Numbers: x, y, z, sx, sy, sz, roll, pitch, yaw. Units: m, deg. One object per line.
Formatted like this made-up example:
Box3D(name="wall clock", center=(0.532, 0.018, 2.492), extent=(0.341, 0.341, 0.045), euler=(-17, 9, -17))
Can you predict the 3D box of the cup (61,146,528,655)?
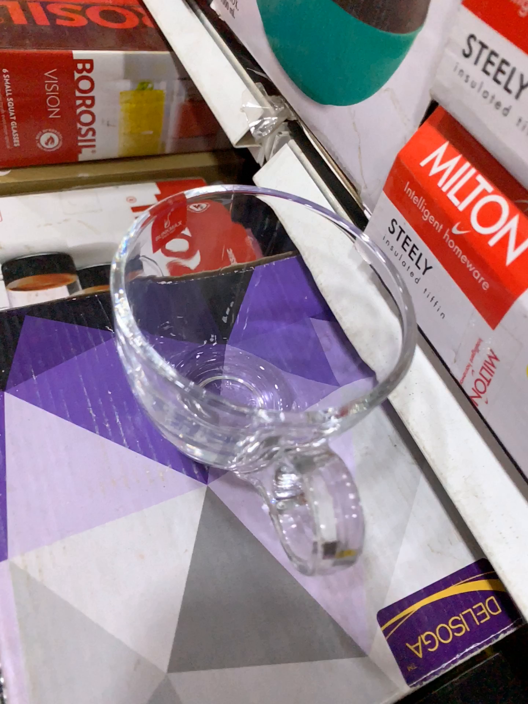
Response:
Box3D(name="cup", center=(-0.001, 0.005, 0.153), extent=(0.080, 0.060, 0.111), euler=(-13, 57, -20))
